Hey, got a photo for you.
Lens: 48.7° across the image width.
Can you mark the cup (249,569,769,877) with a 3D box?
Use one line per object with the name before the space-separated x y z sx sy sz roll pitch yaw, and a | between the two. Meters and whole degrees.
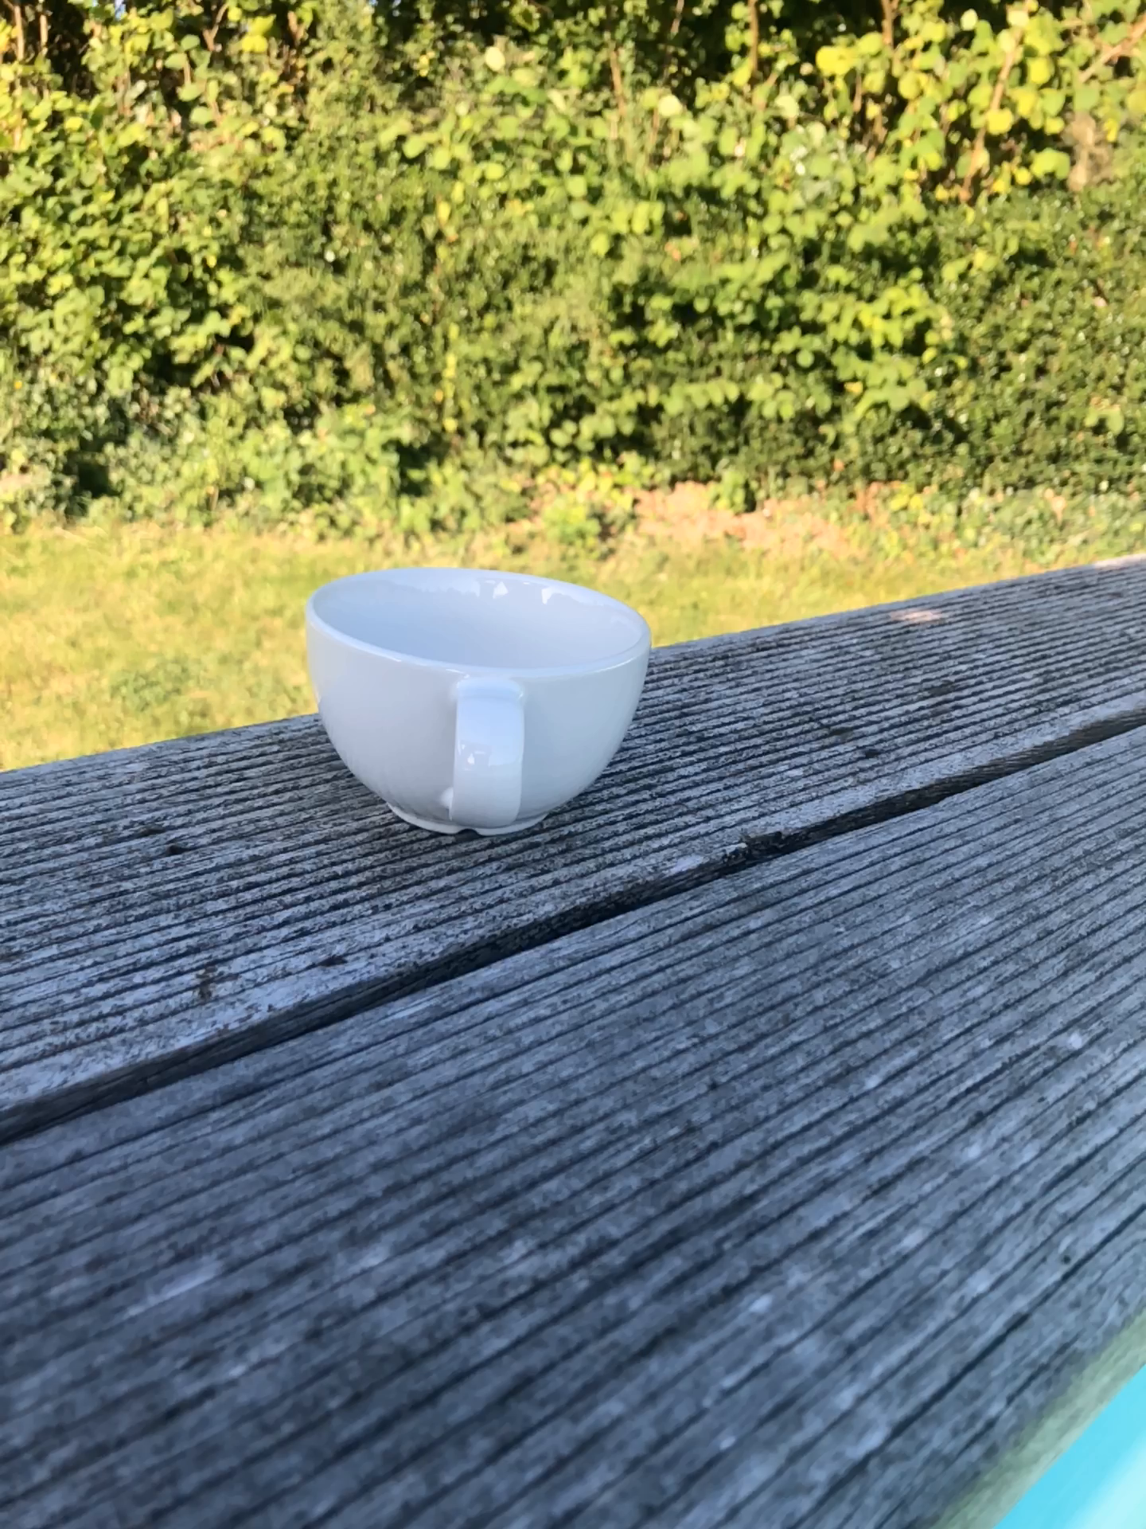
cup | -0.020 -0.015 0.315 0.104 0.038 0.121 1 20 -8
